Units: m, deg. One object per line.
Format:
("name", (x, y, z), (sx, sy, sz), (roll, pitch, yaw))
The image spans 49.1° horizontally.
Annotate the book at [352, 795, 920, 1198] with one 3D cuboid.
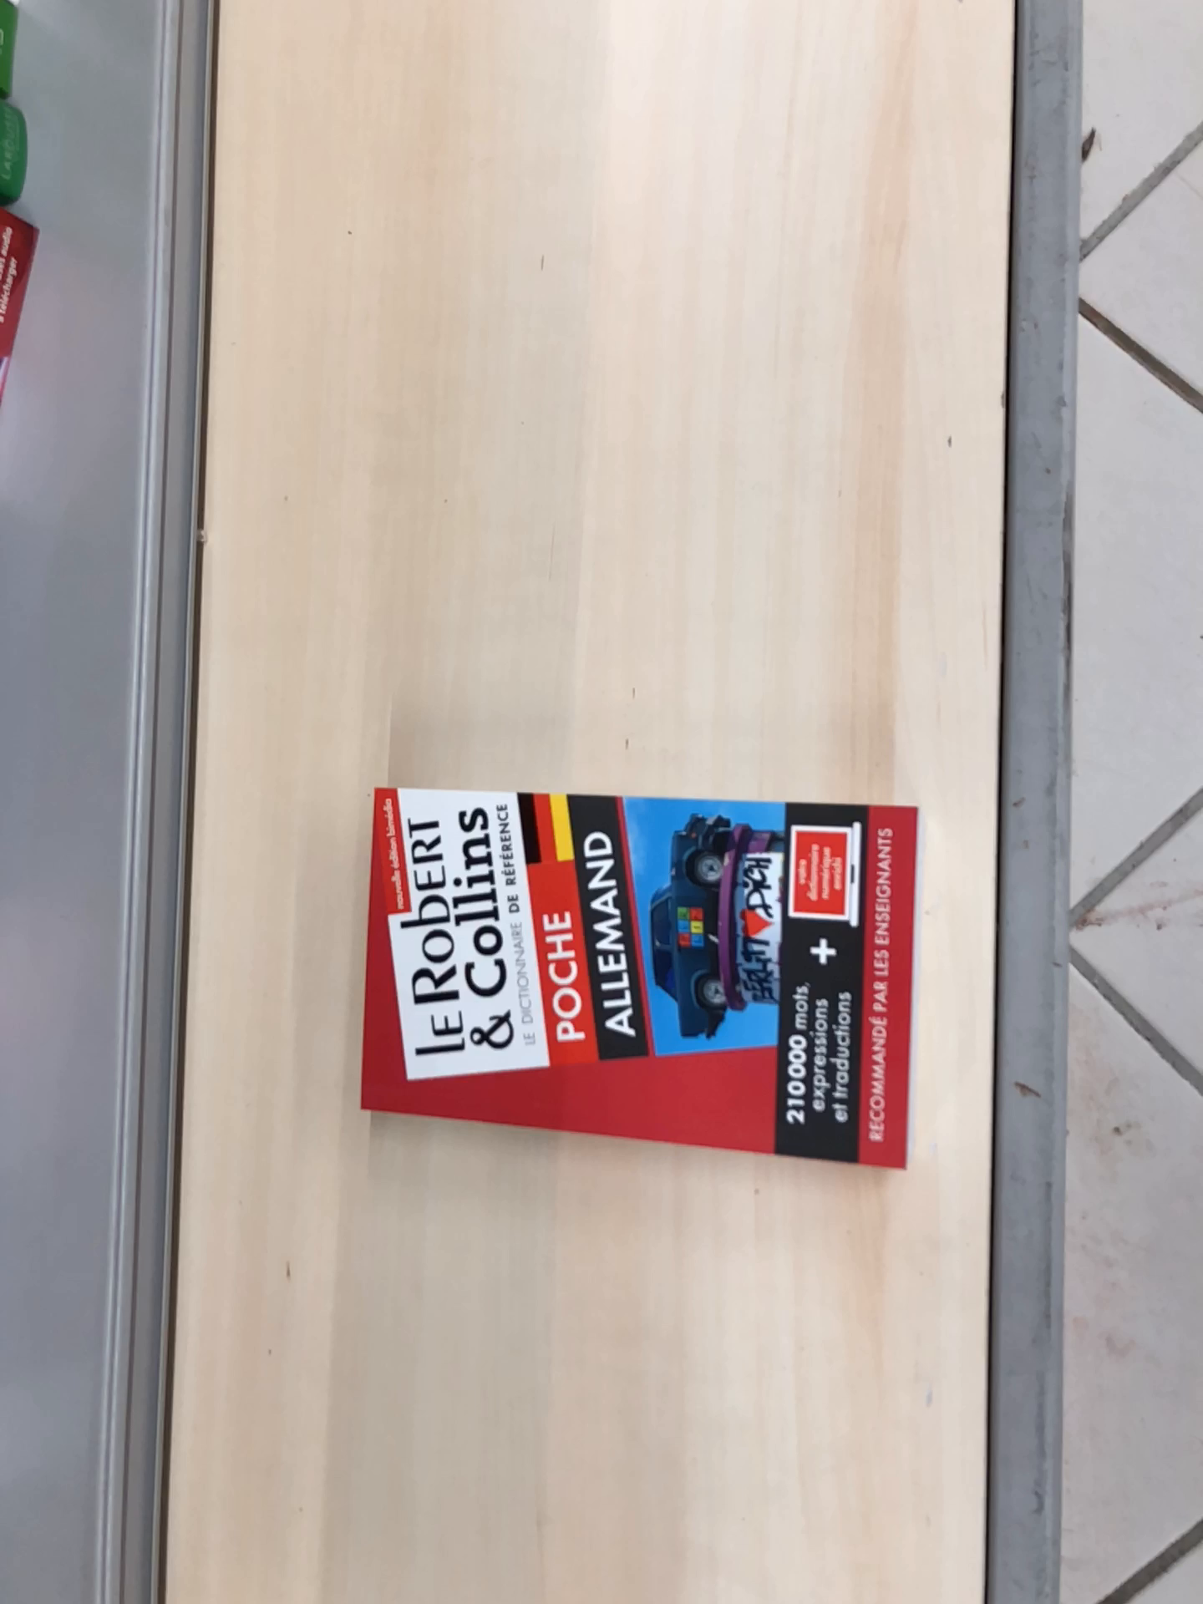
("book", (0.012, 0.056, 0.419), (0.170, 0.050, 0.110), (1, 88, 14))
